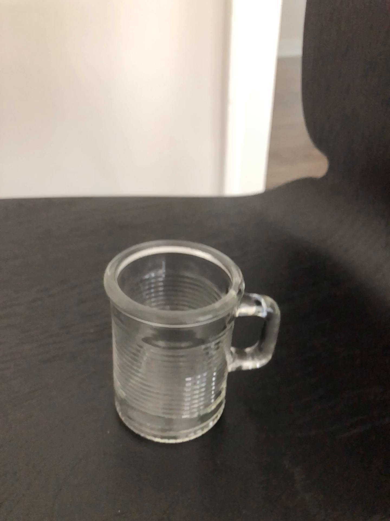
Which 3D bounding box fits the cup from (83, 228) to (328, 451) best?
[{"bbox_3d":[0.003,0.037,0.208,0.090,0.080,0.060,3,35,0],"label":"cup"}]
